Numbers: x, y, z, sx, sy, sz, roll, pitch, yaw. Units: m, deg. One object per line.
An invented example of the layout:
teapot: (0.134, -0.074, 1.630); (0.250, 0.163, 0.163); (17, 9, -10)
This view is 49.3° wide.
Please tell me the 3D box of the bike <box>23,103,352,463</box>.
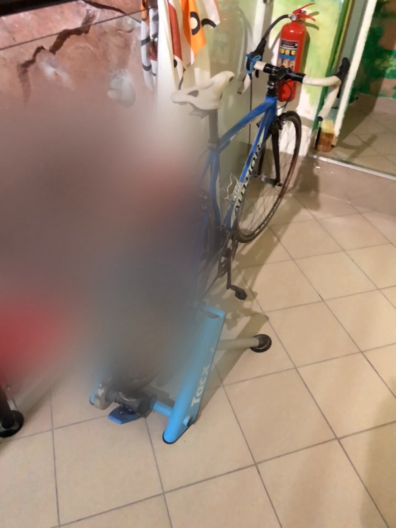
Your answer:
bike: (0.141, -0.109, 1.739); (0.466, 0.682, 1.559); (21, 38, 20)
